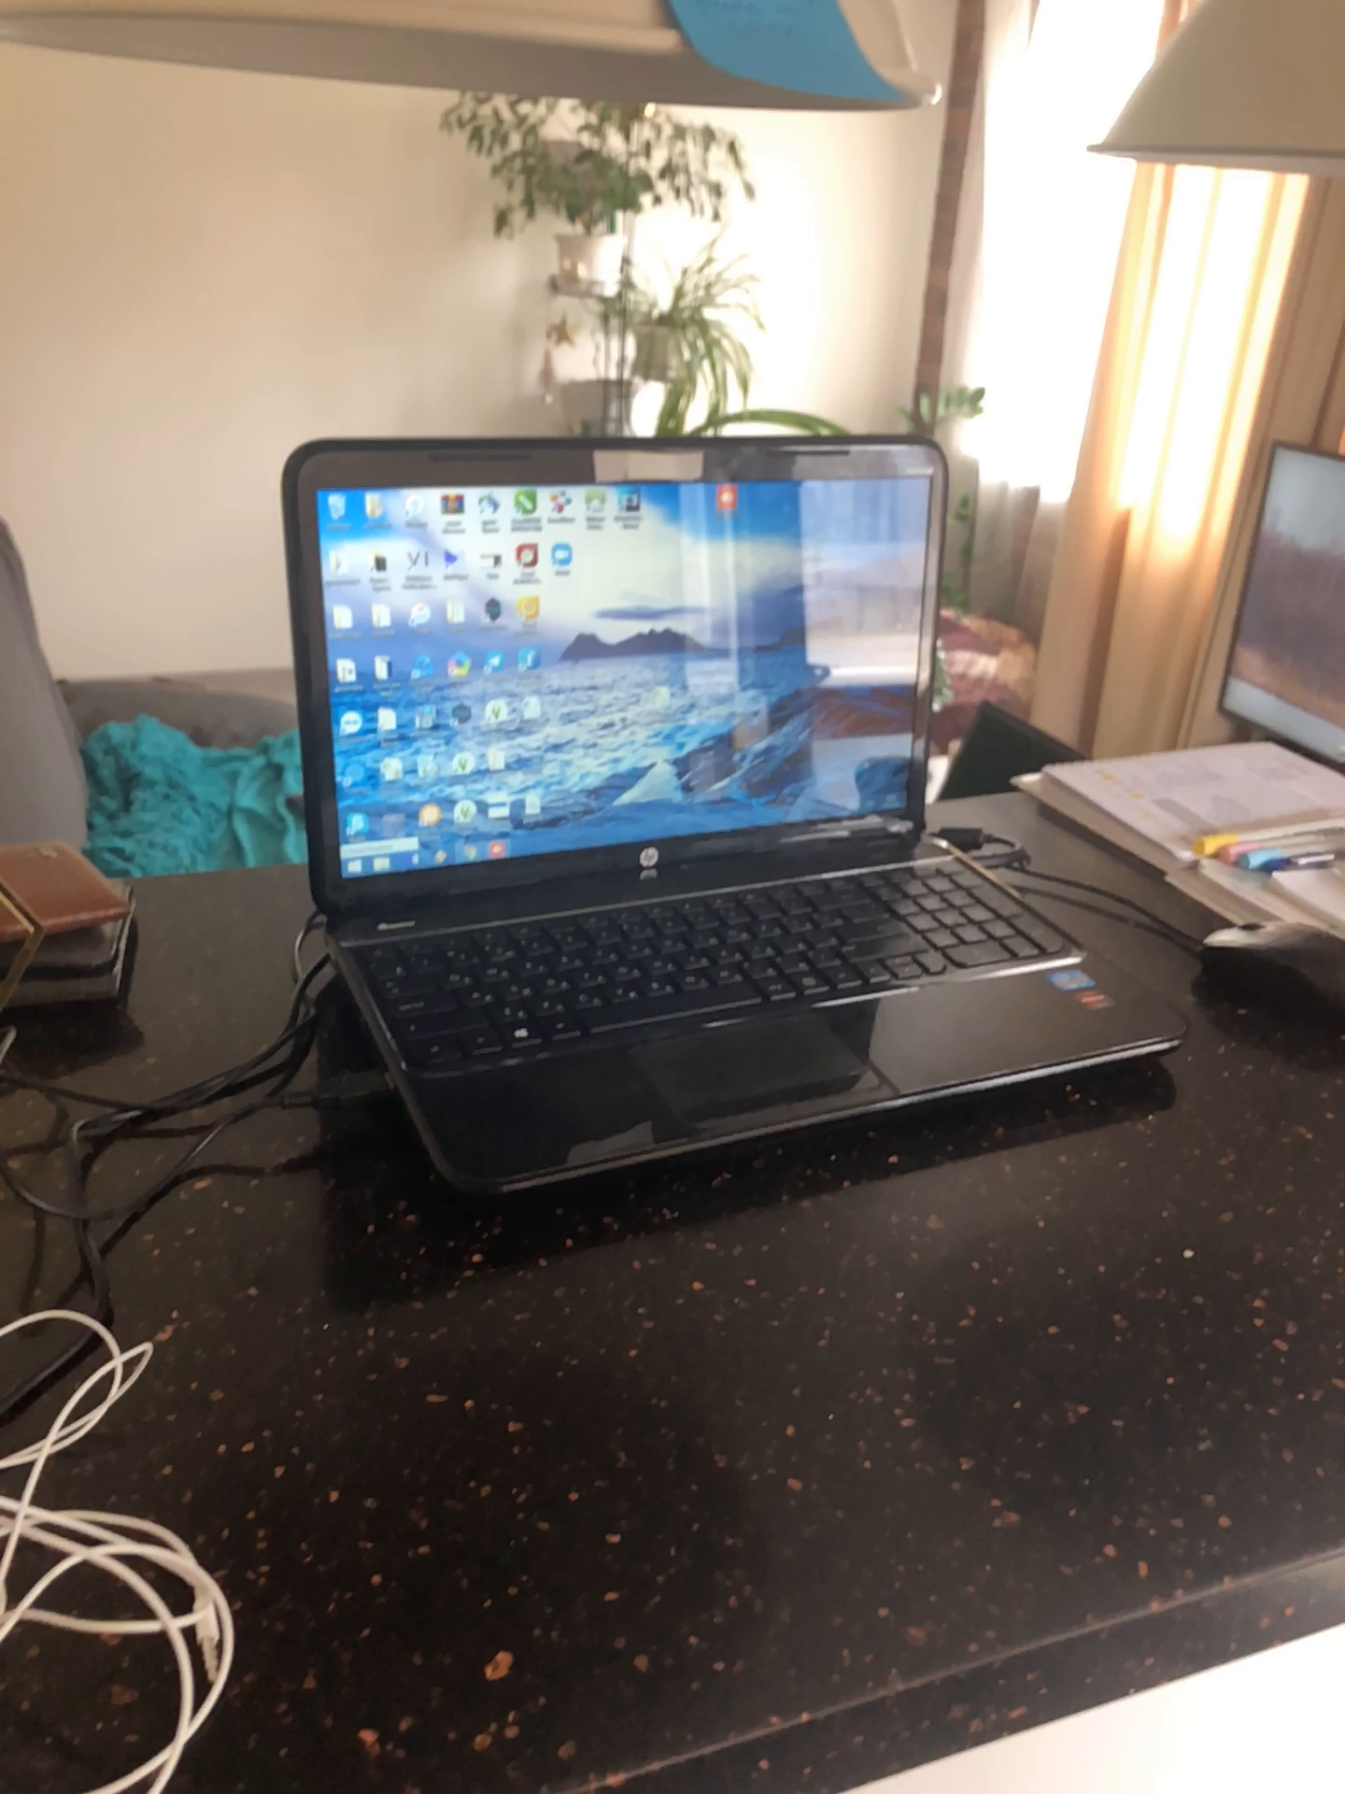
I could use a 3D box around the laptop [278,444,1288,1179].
[{"bbox_3d":[0.032,-0.074,0.699,0.361,0.217,0.268,-8,28,-24],"label":"laptop"}]
